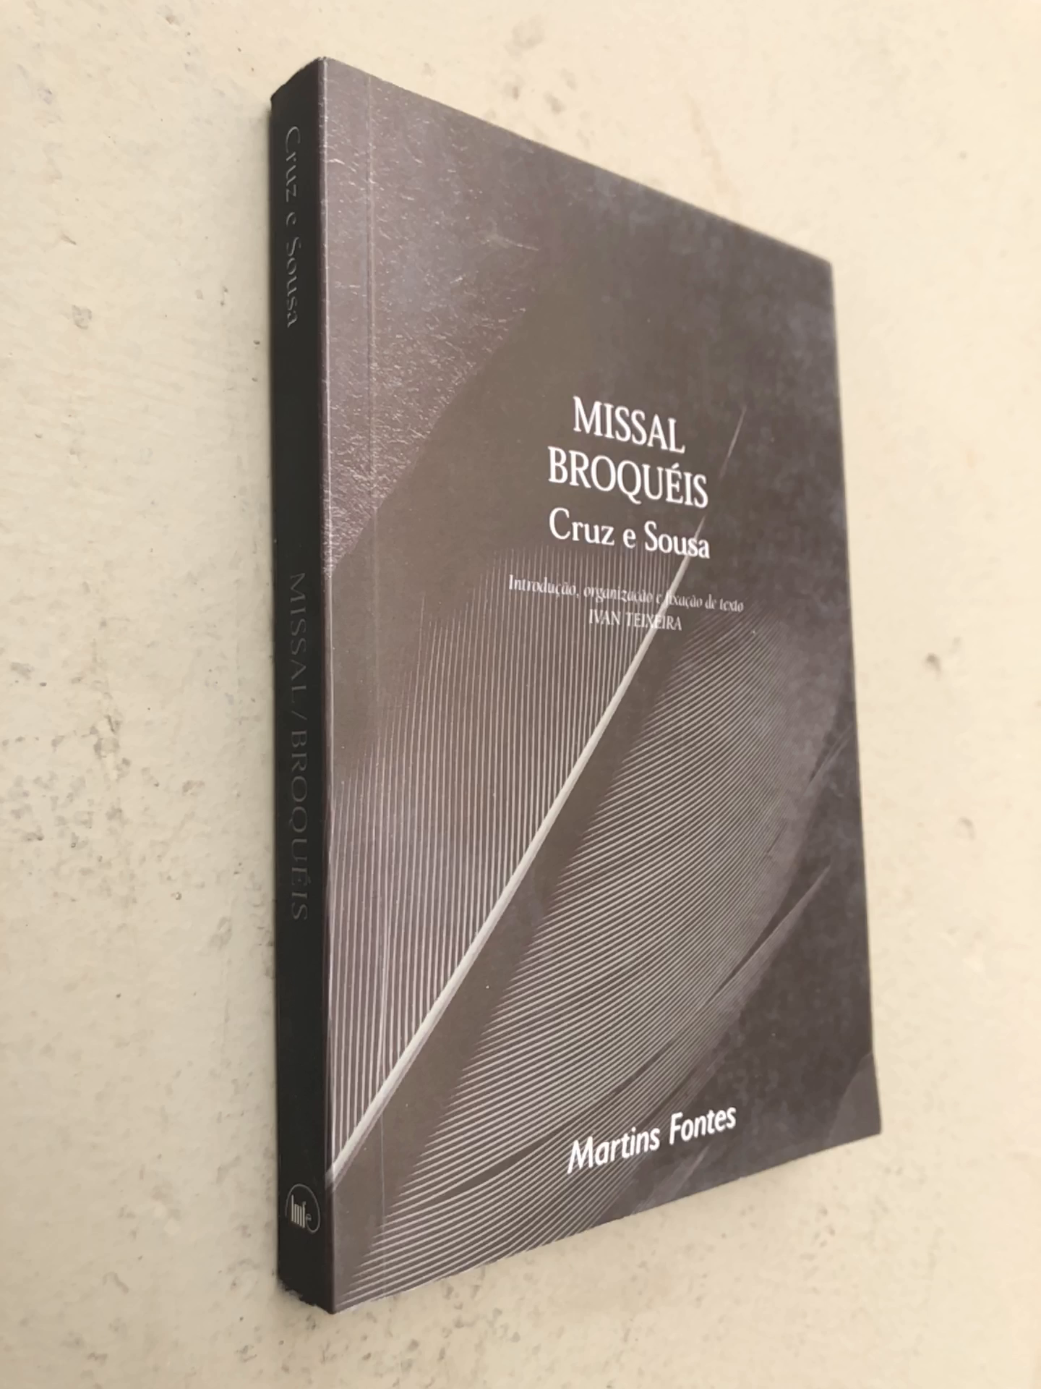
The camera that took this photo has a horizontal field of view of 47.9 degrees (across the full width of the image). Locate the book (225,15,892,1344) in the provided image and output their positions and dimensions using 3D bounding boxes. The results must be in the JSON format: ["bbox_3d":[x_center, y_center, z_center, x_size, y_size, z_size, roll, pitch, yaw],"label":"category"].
[{"bbox_3d":[0.014,-0.003,0.198,0.128,0.016,0.173,2,85,-39],"label":"book"}]
